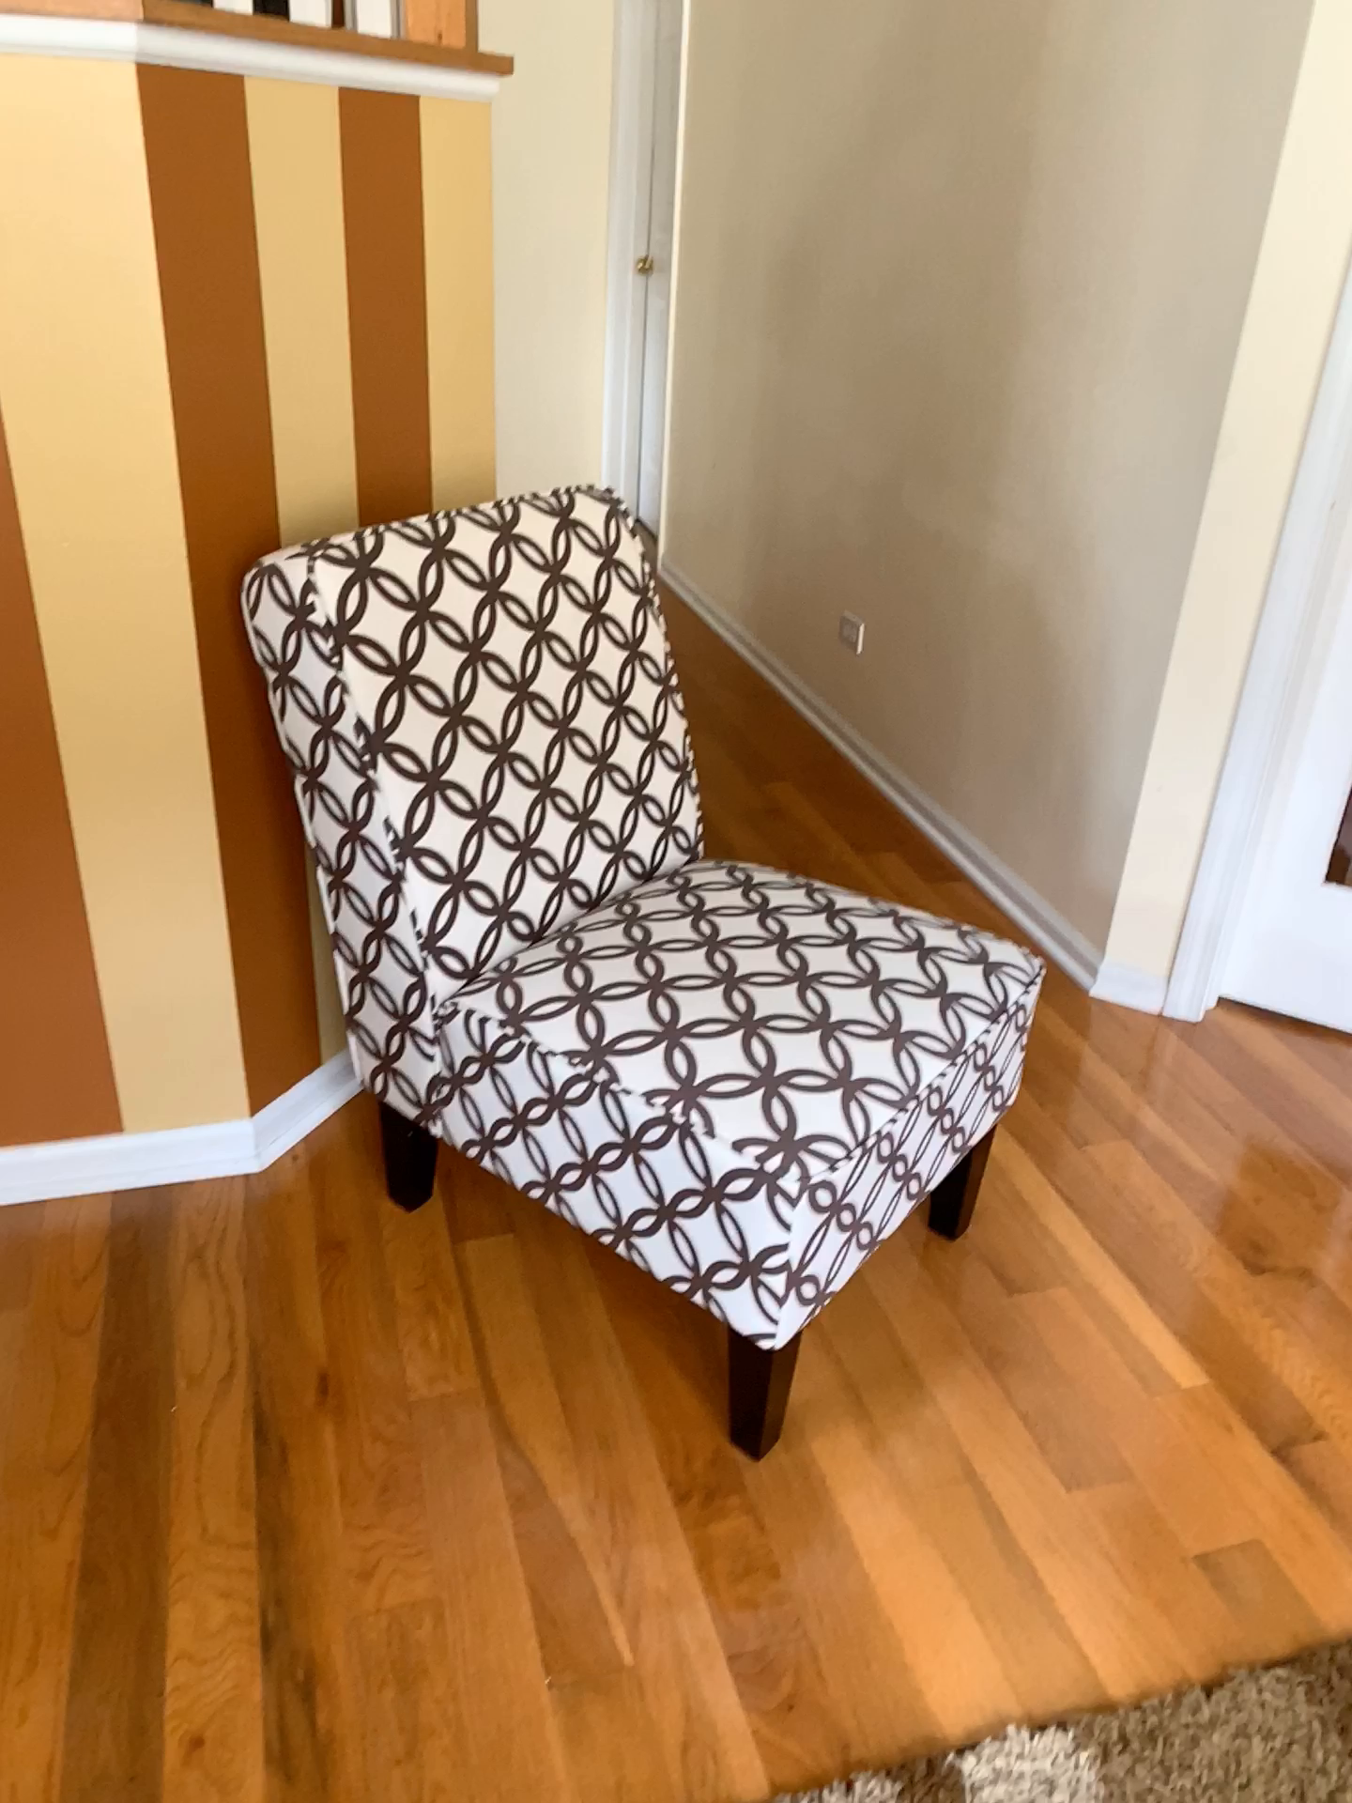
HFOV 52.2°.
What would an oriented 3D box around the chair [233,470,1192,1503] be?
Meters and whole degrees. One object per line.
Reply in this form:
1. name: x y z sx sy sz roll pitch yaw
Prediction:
1. chair: 0.031 -0.001 1.546 0.737 0.775 0.625 20 31 32
